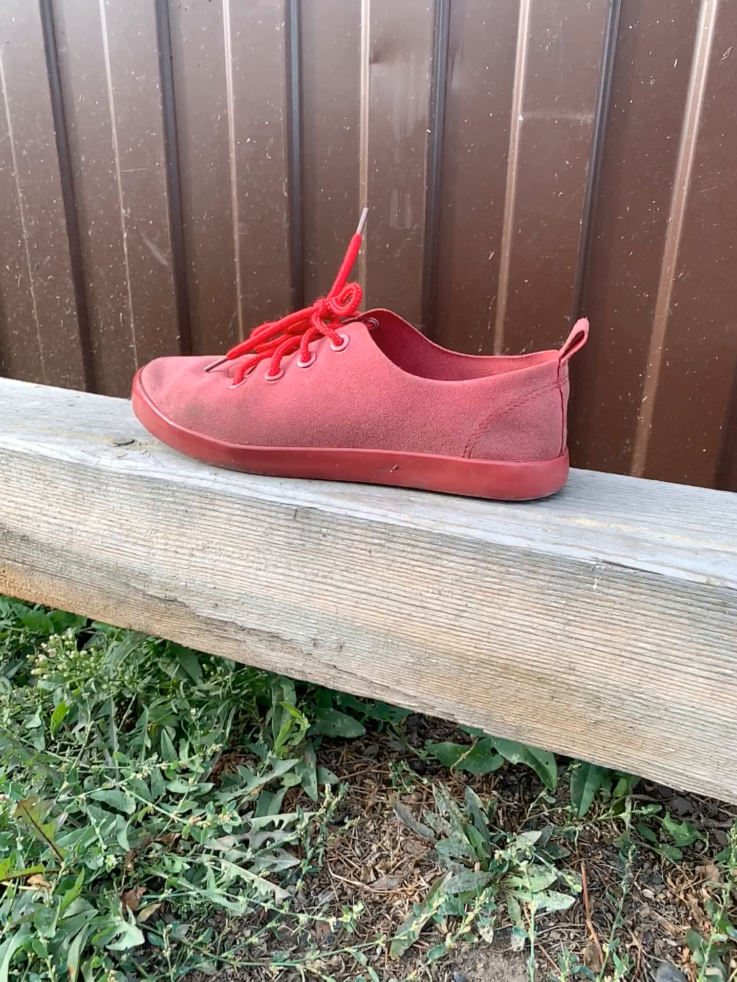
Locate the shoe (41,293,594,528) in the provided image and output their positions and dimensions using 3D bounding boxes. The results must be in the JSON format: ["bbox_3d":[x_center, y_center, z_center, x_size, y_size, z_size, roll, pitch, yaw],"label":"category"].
[{"bbox_3d":[-0.020,-0.049,0.368,0.240,0.069,0.101,7,21,16],"label":"shoe"}]
